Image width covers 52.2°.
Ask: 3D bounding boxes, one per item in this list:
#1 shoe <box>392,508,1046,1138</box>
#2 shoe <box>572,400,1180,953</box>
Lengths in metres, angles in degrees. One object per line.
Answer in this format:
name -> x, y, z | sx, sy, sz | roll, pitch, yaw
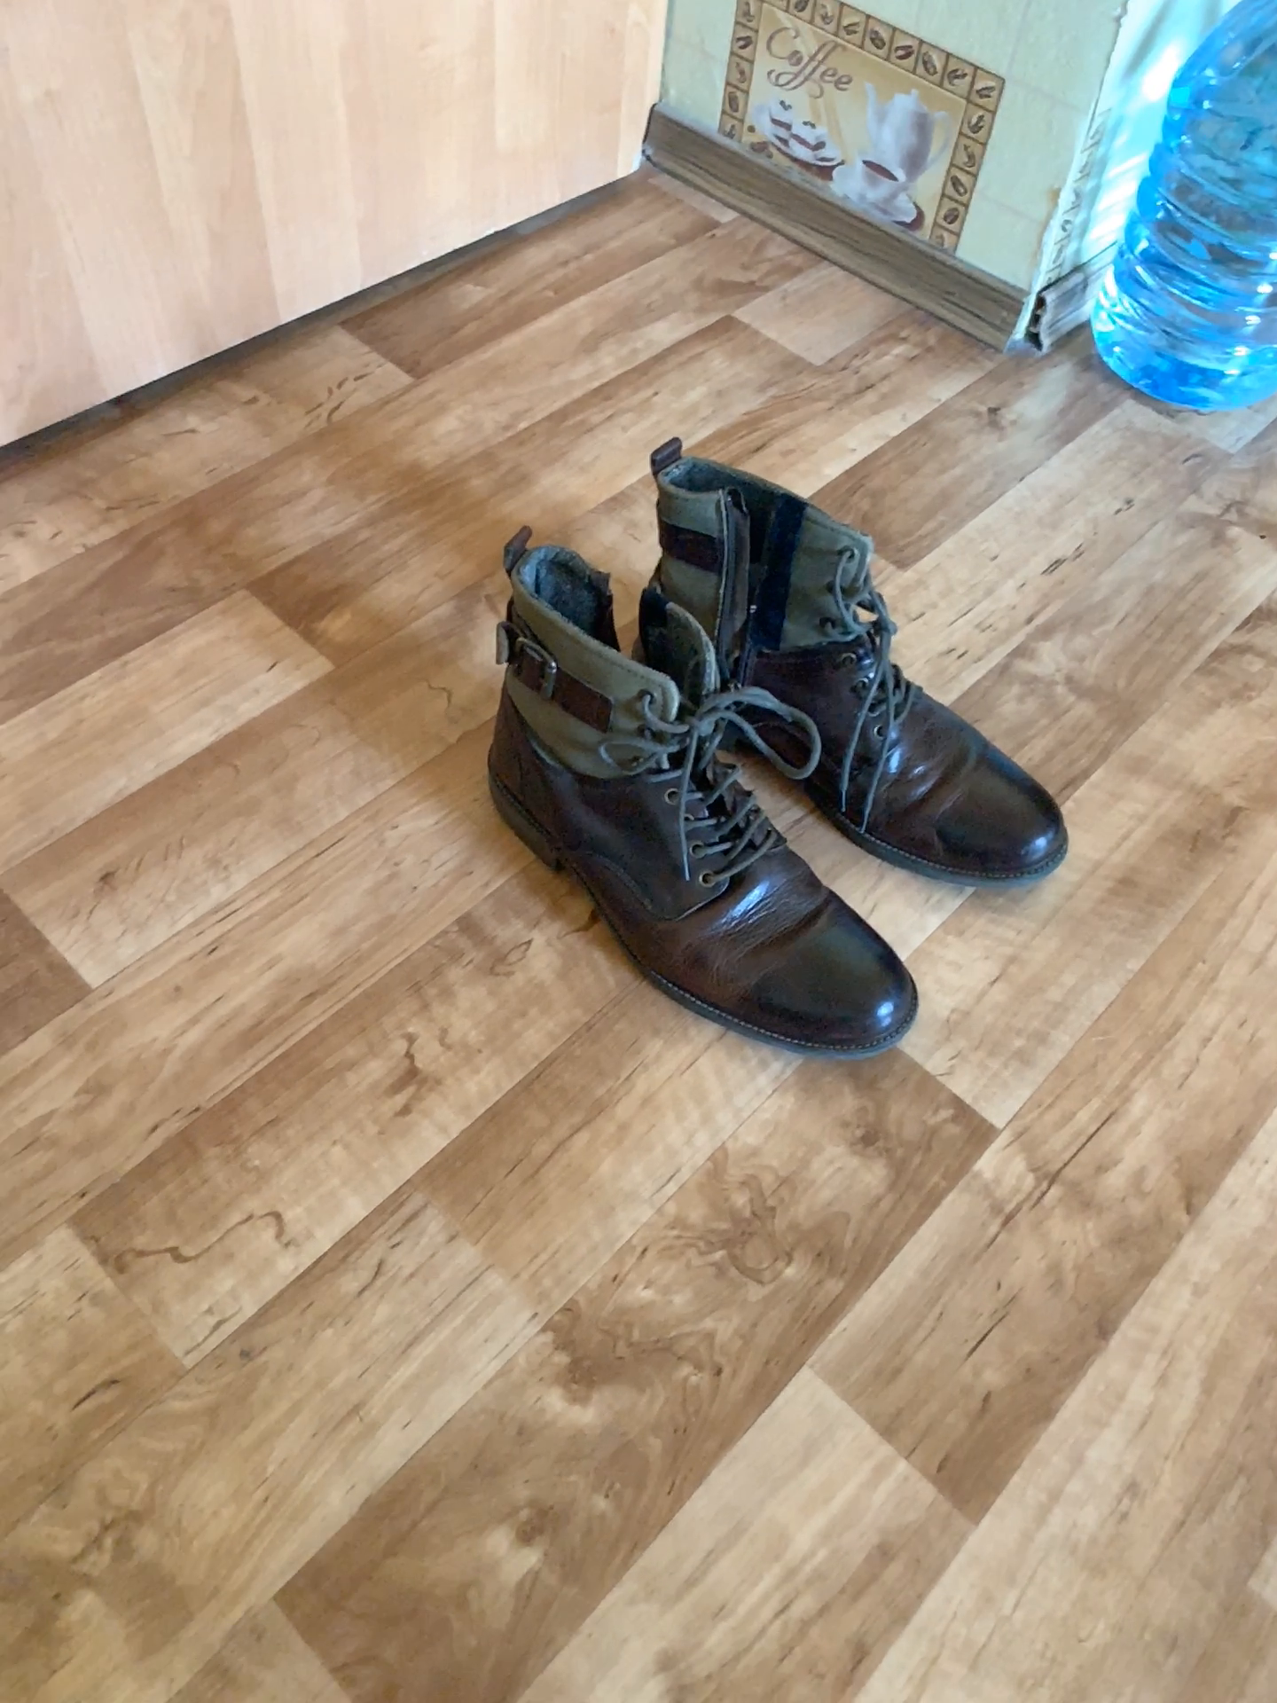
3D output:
shoe -> 0.026, -0.019, 0.675 | 0.310, 0.150, 0.110 | 37, 59, 20
shoe -> 0.117, -0.104, 0.751 | 0.310, 0.150, 0.110 | 35, 59, 19
